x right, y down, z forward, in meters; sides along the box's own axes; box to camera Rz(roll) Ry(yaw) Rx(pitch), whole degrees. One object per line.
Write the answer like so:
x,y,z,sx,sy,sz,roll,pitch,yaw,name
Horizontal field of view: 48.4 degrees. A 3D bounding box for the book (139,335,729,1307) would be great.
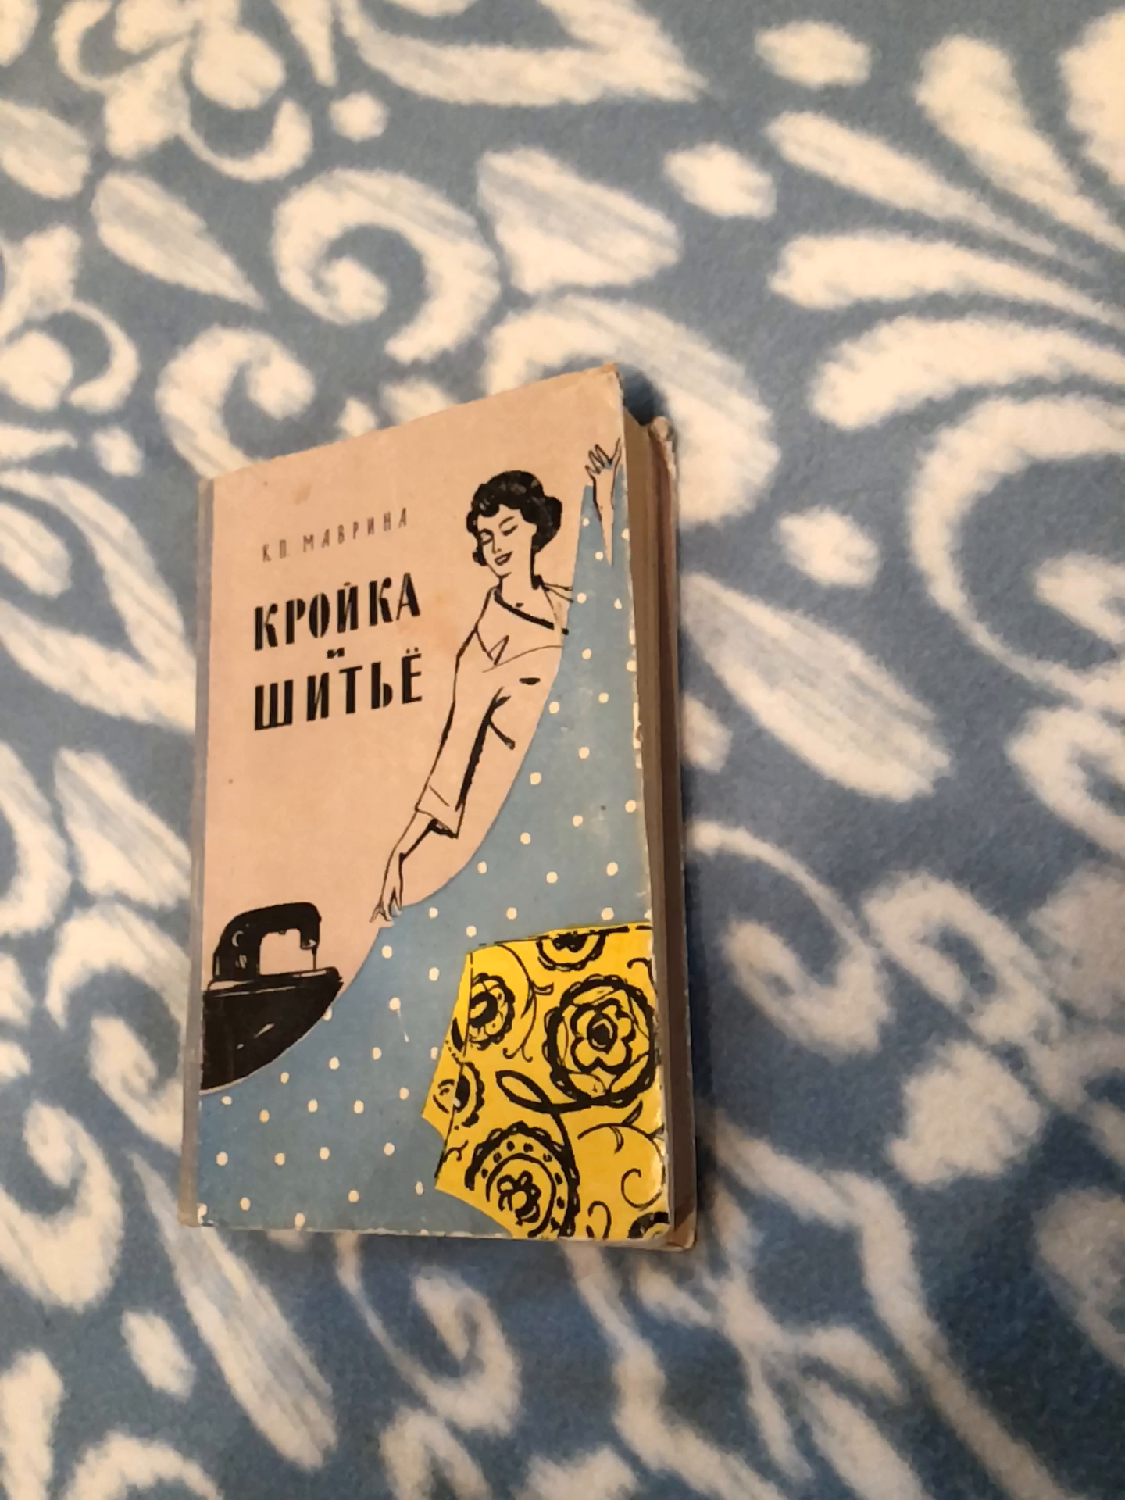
-0.038,0.019,0.342,0.152,0.037,0.231,-8,74,26,book
